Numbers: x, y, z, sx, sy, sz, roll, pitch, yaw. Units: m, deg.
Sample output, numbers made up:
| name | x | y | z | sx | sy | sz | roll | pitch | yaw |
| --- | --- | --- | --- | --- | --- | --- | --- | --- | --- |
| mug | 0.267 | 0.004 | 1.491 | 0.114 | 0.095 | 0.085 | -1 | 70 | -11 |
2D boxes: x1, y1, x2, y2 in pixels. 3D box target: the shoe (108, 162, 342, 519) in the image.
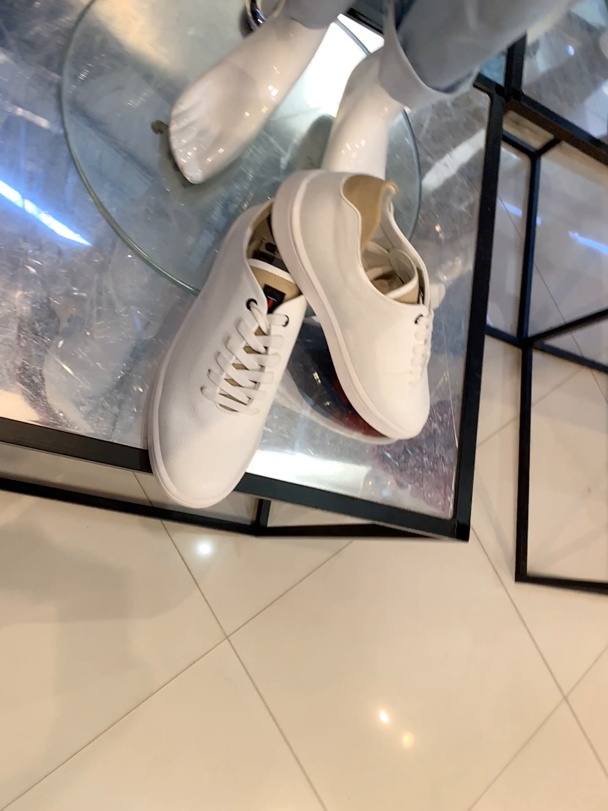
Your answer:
| name | x | y | z | sx | sy | sz | roll | pitch | yaw |
| --- | --- | --- | --- | --- | --- | --- | --- | --- | --- |
| shoe | -0.067 | -0.055 | 0.563 | 0.100 | 0.100 | 0.291 | 23 | 70 | -20 |

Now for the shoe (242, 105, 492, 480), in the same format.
| name | x | y | z | sx | sy | sz | roll | pitch | yaw |
| --- | --- | --- | --- | --- | --- | --- | --- | --- | --- |
| shoe | 0.070 | -0.082 | 0.541 | 0.100 | 0.080 | 0.300 | -54 | 126 | -42 |
